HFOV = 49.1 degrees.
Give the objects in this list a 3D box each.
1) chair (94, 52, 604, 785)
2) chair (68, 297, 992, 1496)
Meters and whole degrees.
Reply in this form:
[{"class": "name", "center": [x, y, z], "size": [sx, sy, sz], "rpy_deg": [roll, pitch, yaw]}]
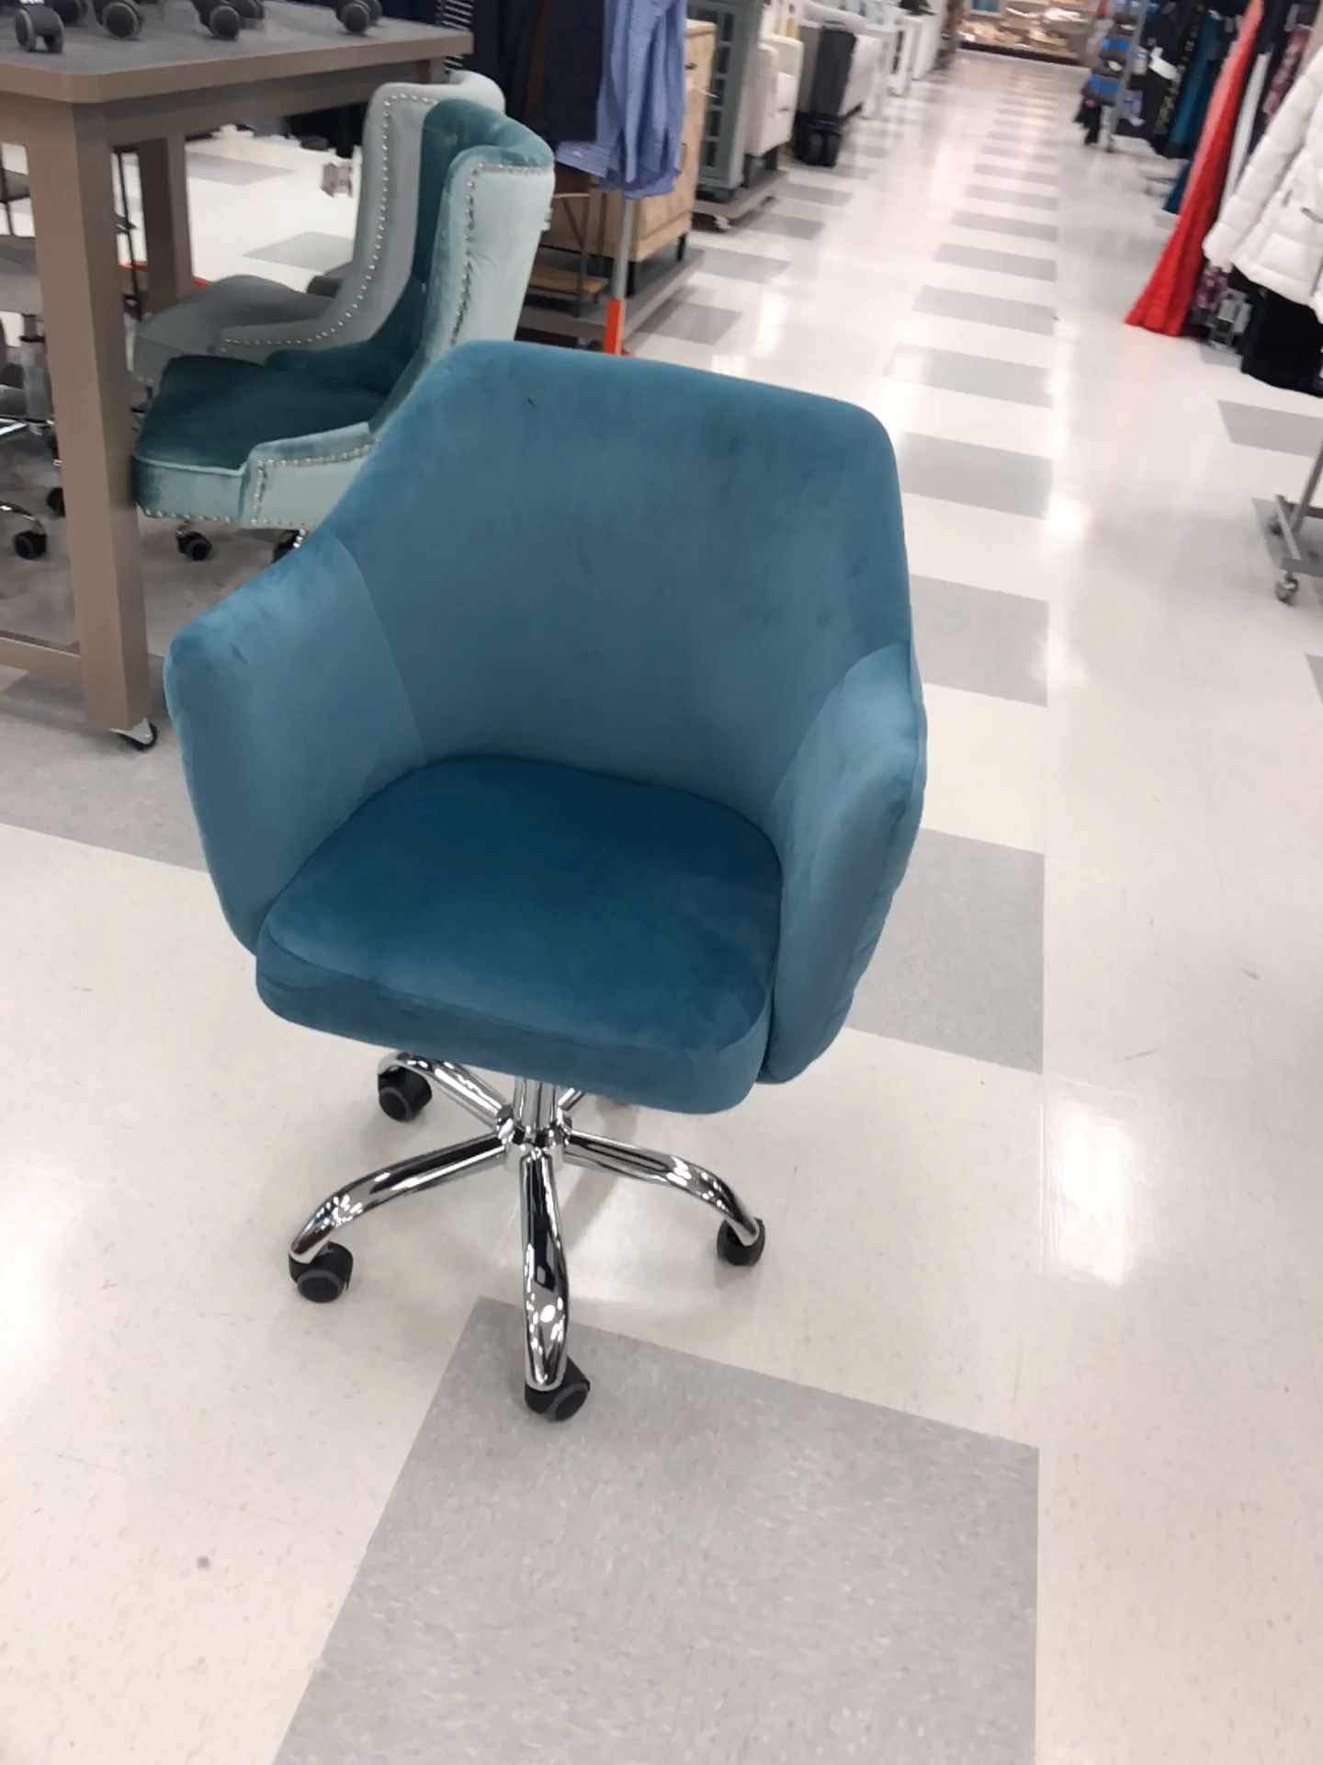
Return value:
[{"class": "chair", "center": [-0.532, -0.774, 2.448], "size": [0.652, 0.966, 0.739], "rpy_deg": [-1, 34, -15]}, {"class": "chair", "center": [-0.099, -0.002, 1.412], "size": [0.594, 0.887, 0.566], "rpy_deg": [14, 33, 9]}]
